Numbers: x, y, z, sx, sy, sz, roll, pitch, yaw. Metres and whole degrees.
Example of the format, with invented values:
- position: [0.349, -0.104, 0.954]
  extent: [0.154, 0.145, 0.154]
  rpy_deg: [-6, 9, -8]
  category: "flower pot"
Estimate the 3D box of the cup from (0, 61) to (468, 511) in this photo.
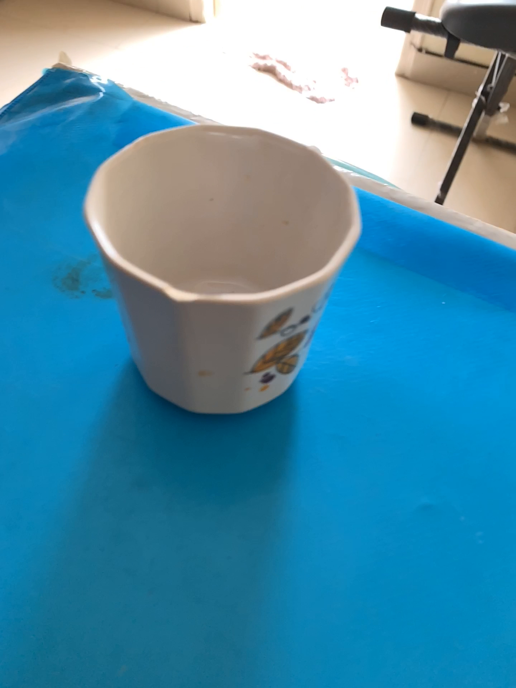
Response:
- position: [-0.004, -0.021, 0.156]
  extent: [0.070, 0.060, 0.100]
  rpy_deg: [35, 61, 20]
  category: "cup"
